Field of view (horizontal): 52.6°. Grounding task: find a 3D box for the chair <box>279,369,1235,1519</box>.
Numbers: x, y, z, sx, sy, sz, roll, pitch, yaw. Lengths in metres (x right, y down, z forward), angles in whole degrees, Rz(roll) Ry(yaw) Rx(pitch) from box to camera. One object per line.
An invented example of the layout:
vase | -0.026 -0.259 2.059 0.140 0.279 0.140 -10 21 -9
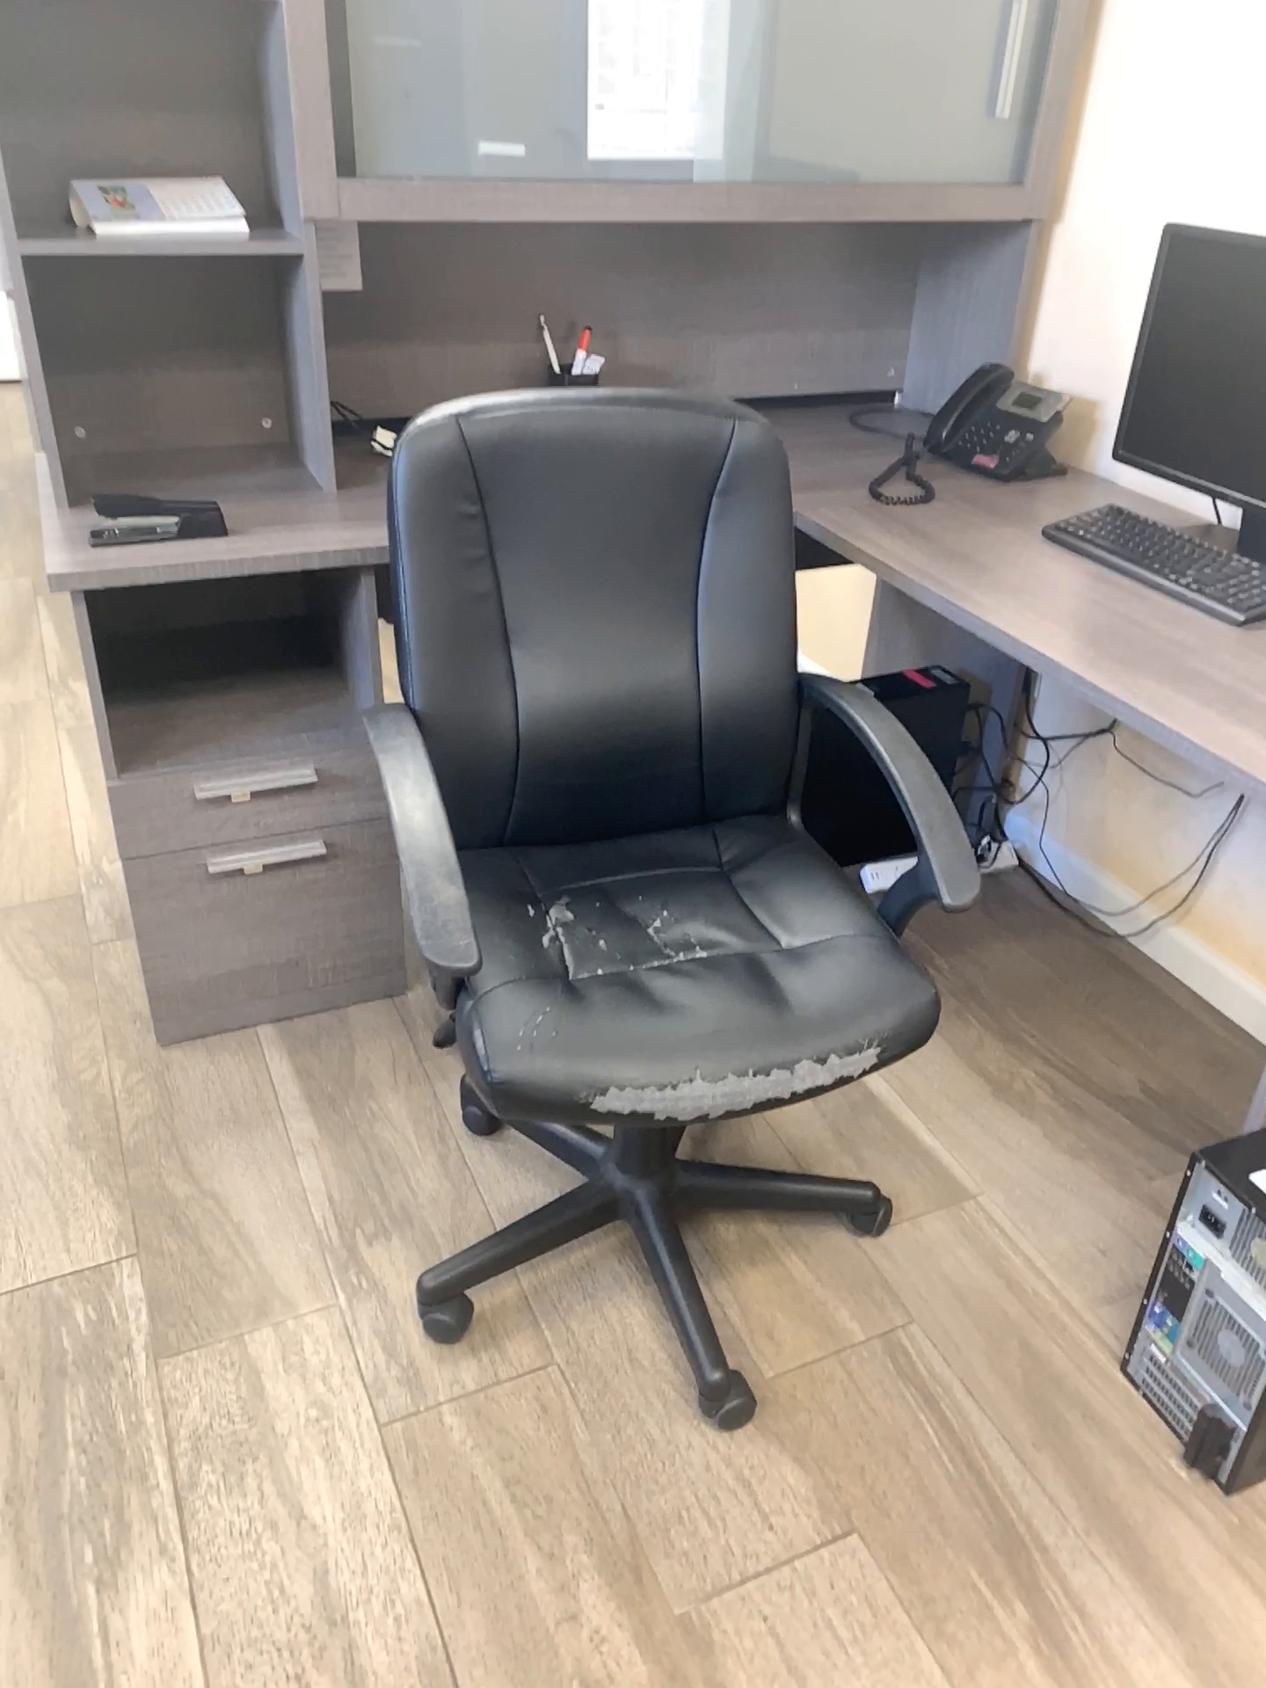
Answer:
chair | 0.031 0.057 1.378 0.650 0.945 0.643 -8 32 -17
